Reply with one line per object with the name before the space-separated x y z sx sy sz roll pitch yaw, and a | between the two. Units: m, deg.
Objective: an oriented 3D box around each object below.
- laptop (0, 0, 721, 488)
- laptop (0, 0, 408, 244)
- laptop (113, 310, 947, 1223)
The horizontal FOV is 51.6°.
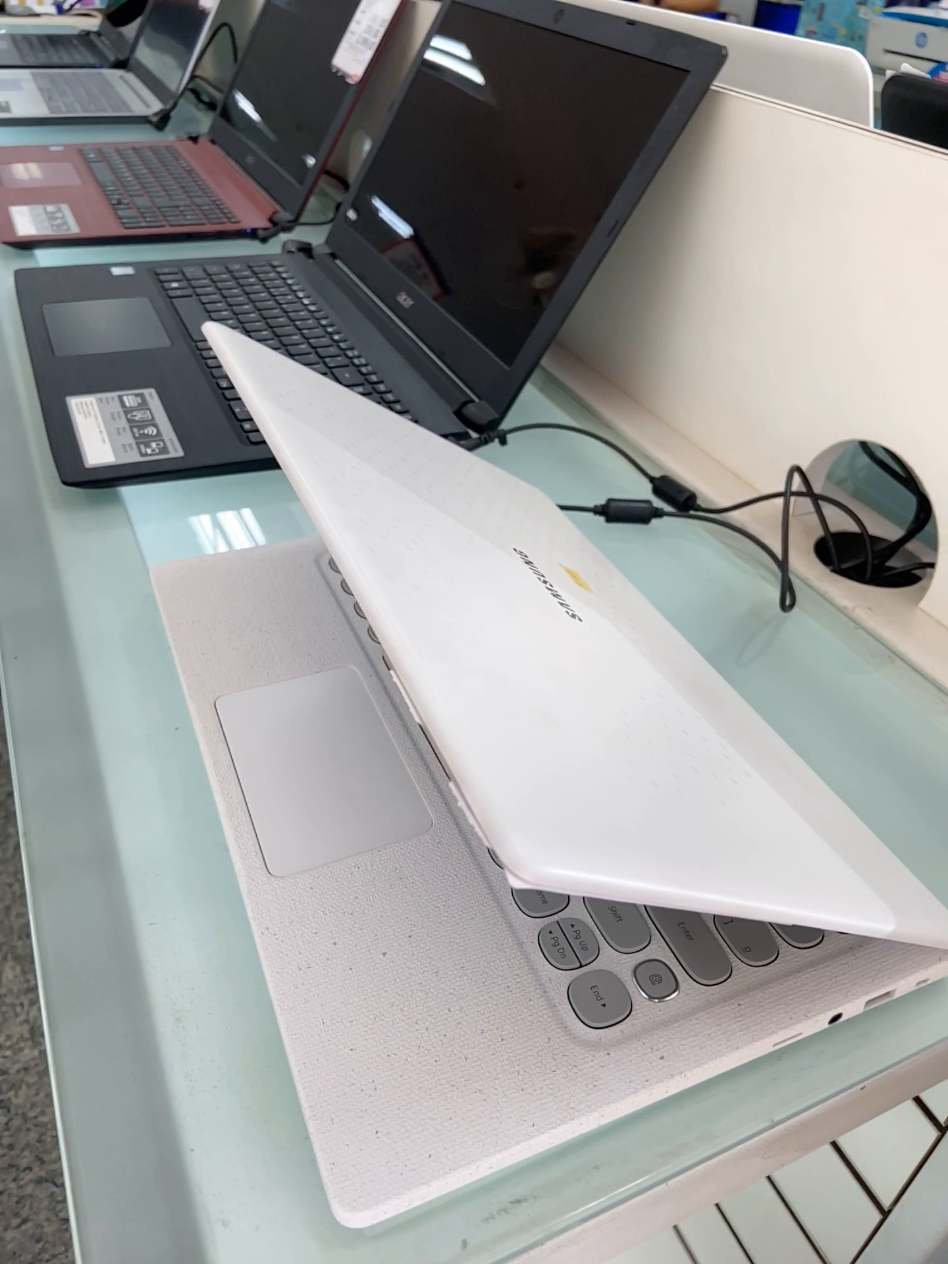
laptop | -0.122 -0.311 0.673 0.374 0.213 0.402 -11 39 -20
laptop | -0.297 -0.550 0.958 0.367 0.199 0.310 -15 42 -22
laptop | 0.002 -0.006 0.360 0.206 0.107 0.313 -12 39 -20
